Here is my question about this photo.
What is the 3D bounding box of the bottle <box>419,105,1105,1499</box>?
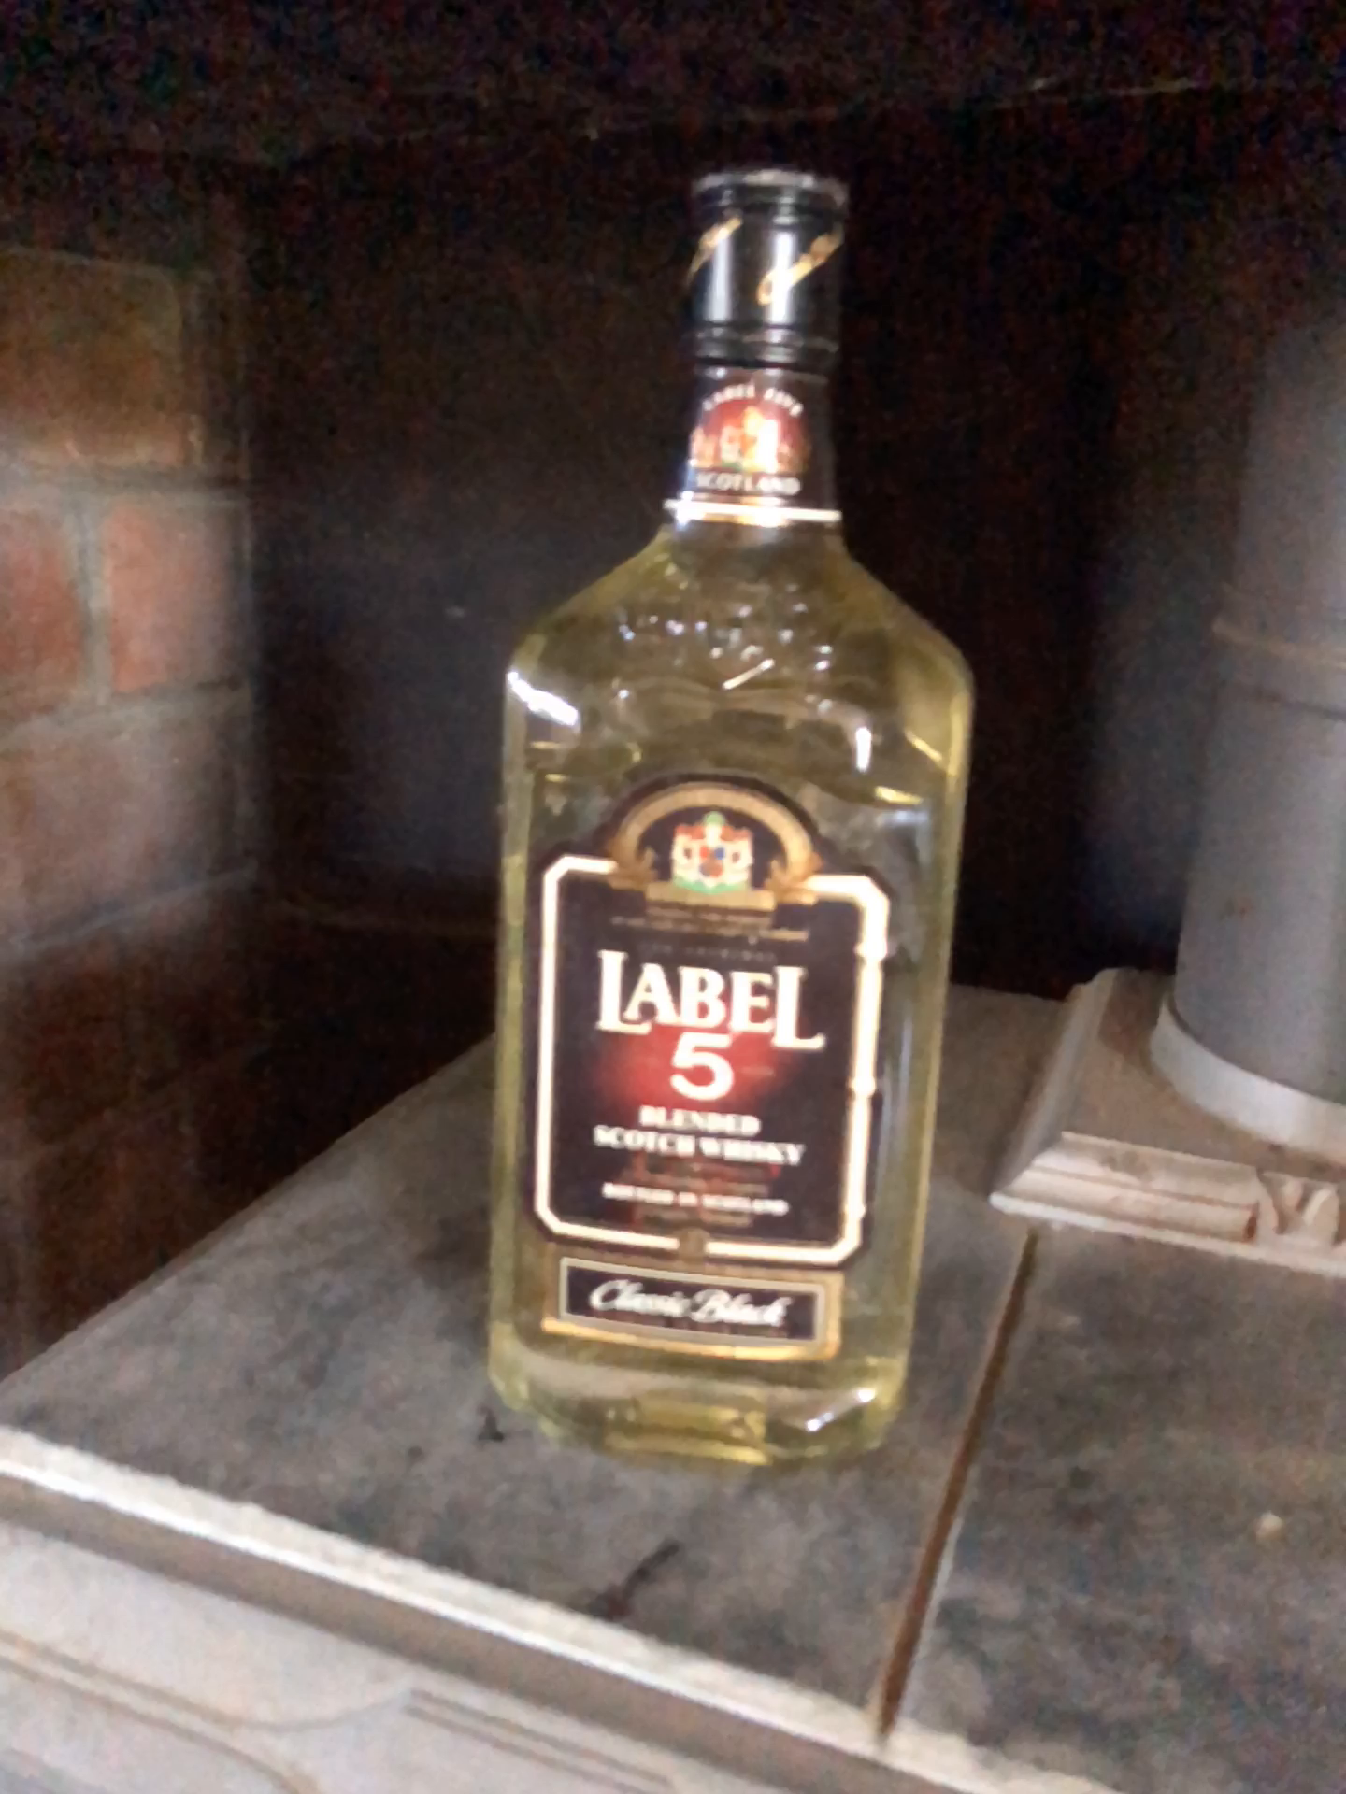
[{"bbox_3d":[0.014,-0.013,0.296,0.110,0.249,0.060,4,15,9],"label":"bottle"}]
